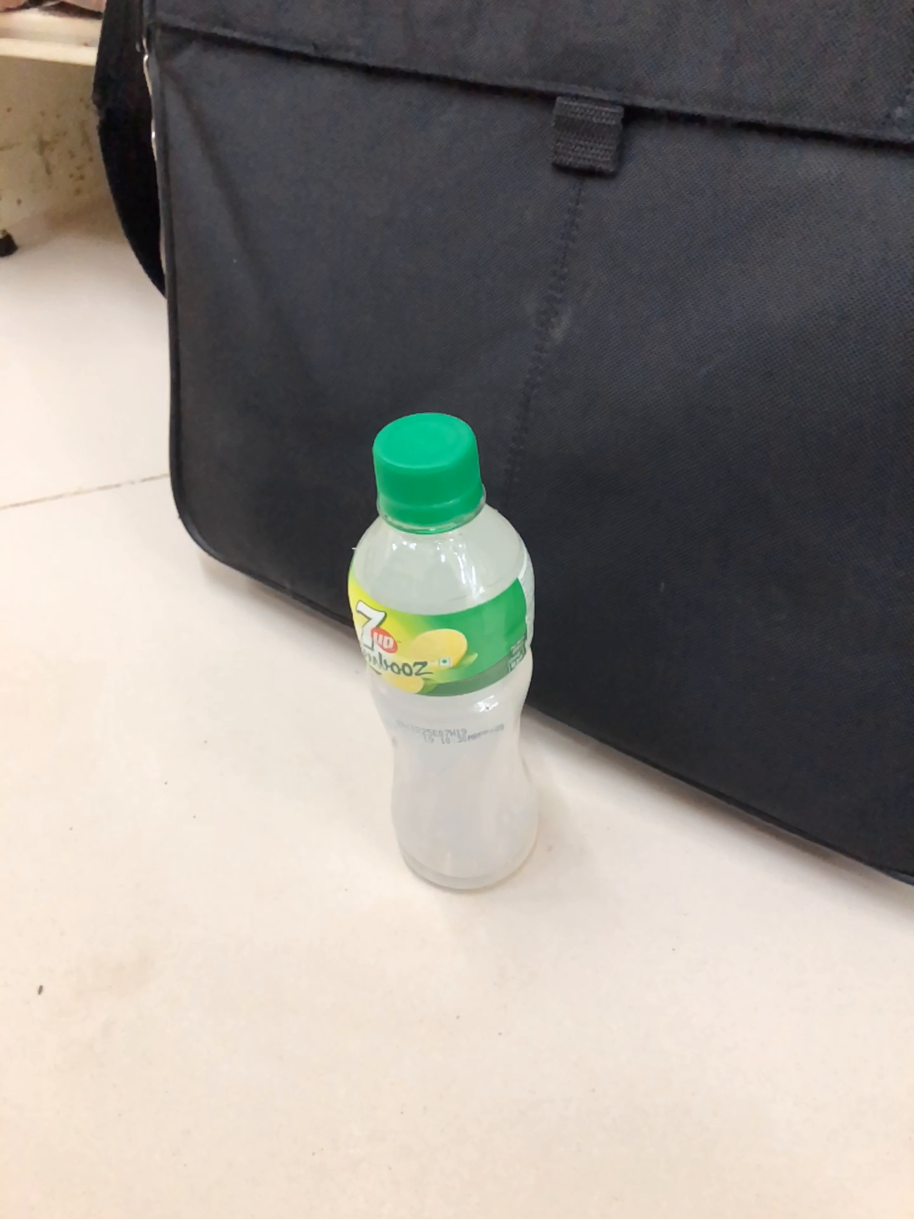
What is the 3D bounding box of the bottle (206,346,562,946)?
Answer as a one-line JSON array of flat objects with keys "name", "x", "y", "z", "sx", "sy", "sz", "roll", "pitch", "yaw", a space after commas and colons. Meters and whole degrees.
[{"name": "bottle", "x": -0.013, "y": 0.020, "z": 0.344, "sx": 0.070, "sy": 0.189, "sz": 0.070, "roll": -3, "pitch": 42, "yaw": 3}]
